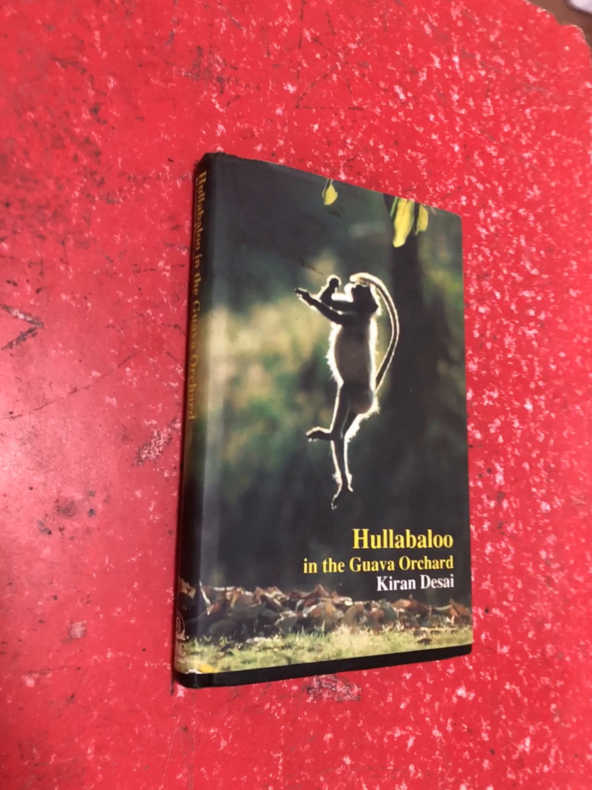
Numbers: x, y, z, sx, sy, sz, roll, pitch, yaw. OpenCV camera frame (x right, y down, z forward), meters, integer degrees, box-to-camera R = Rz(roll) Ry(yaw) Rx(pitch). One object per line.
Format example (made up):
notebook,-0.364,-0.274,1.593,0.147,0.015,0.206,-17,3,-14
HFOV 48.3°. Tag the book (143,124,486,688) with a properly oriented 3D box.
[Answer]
book,0.015,0.005,0.316,0.160,0.030,0.230,6,79,-27
